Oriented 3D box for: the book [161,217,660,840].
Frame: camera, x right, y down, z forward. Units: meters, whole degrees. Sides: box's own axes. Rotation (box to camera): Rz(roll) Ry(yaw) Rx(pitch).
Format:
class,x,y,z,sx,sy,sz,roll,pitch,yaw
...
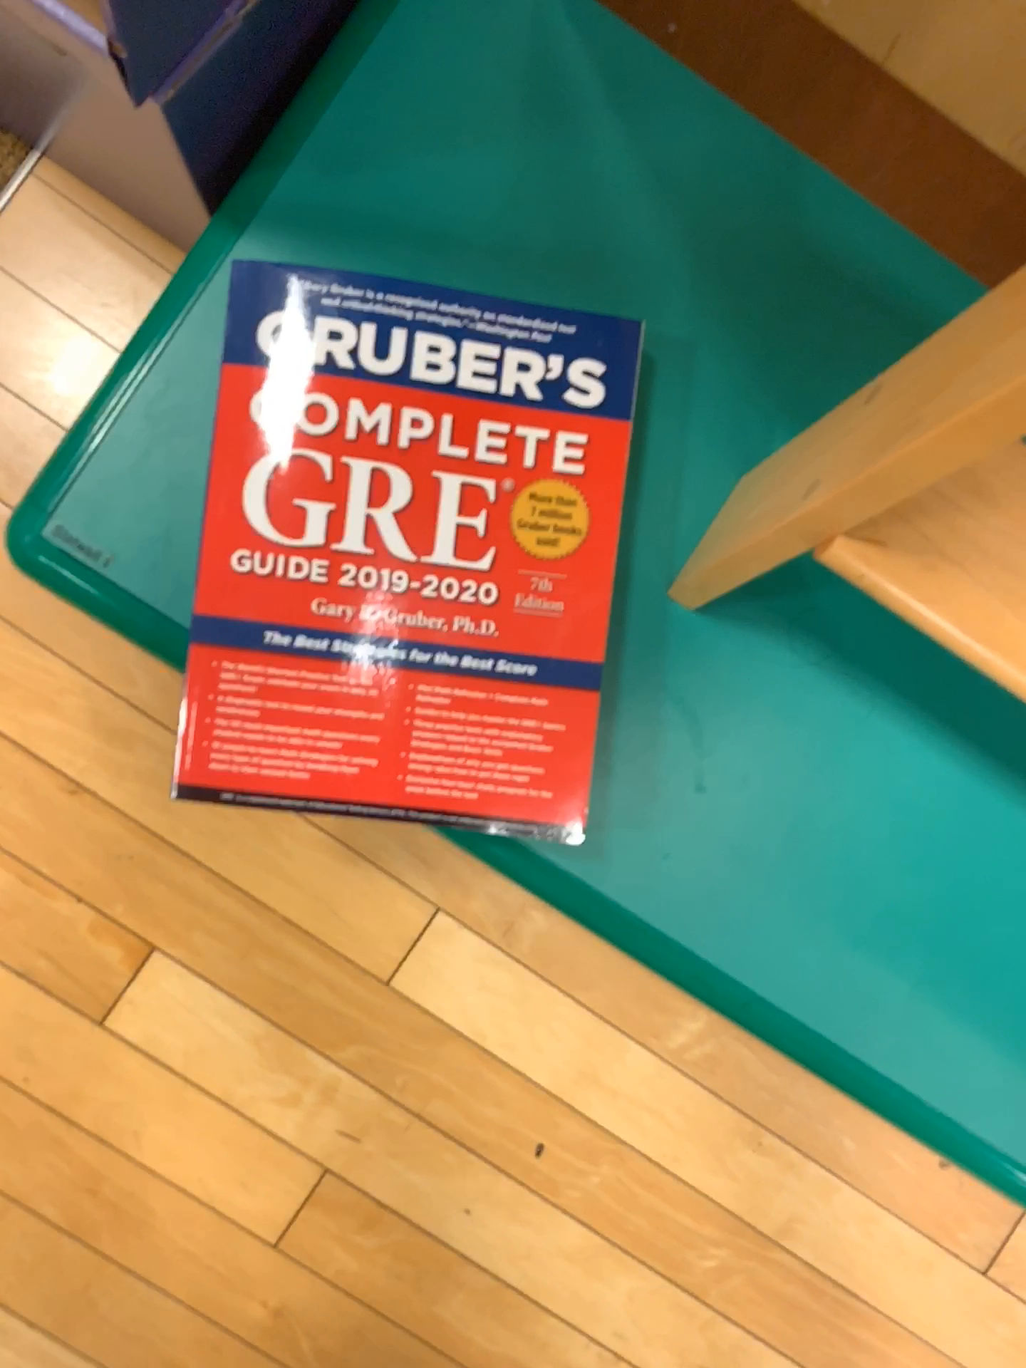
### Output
class,x,y,z,sx,sy,sz,roll,pitch,yaw
book,-0.052,-0.076,0.548,0.220,0.040,0.290,7,90,-6
